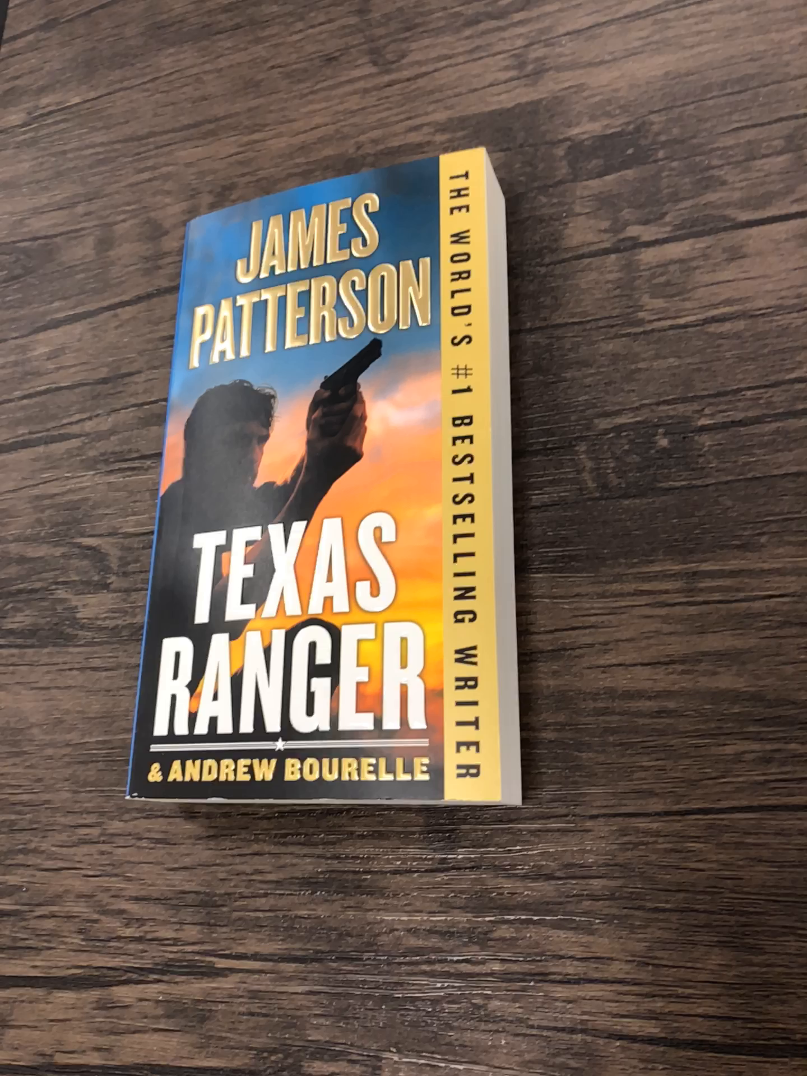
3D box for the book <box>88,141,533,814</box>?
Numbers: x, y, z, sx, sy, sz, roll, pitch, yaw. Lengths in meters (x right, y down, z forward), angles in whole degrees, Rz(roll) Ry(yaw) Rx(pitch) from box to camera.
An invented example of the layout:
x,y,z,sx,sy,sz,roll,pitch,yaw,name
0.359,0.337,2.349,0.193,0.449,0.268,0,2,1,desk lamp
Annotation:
x,y,z,sx,sy,sz,roll,pitch,yaw,name
-0.023,-0.015,0.260,0.107,0.040,0.180,-5,71,18,book
